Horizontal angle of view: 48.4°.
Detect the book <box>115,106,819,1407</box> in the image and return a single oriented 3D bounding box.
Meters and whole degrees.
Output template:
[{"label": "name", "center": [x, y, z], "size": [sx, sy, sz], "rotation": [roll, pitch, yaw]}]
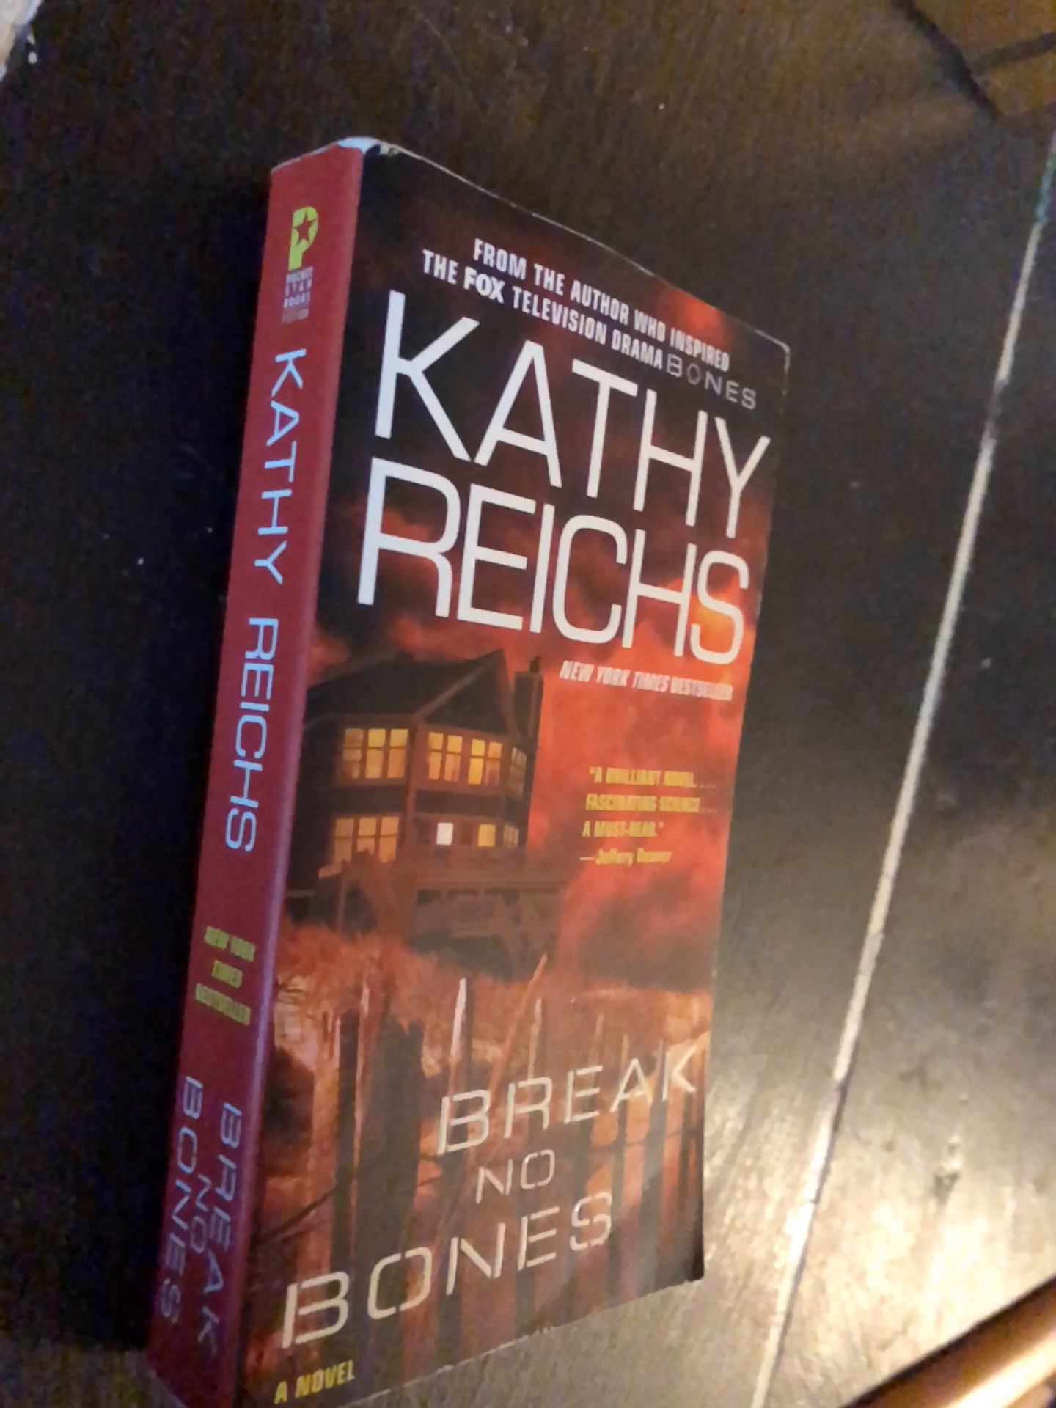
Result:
[{"label": "book", "center": [-0.003, 0.016, 0.209], "size": [0.108, 0.030, 0.189], "rotation": [7, 91, -44]}]
